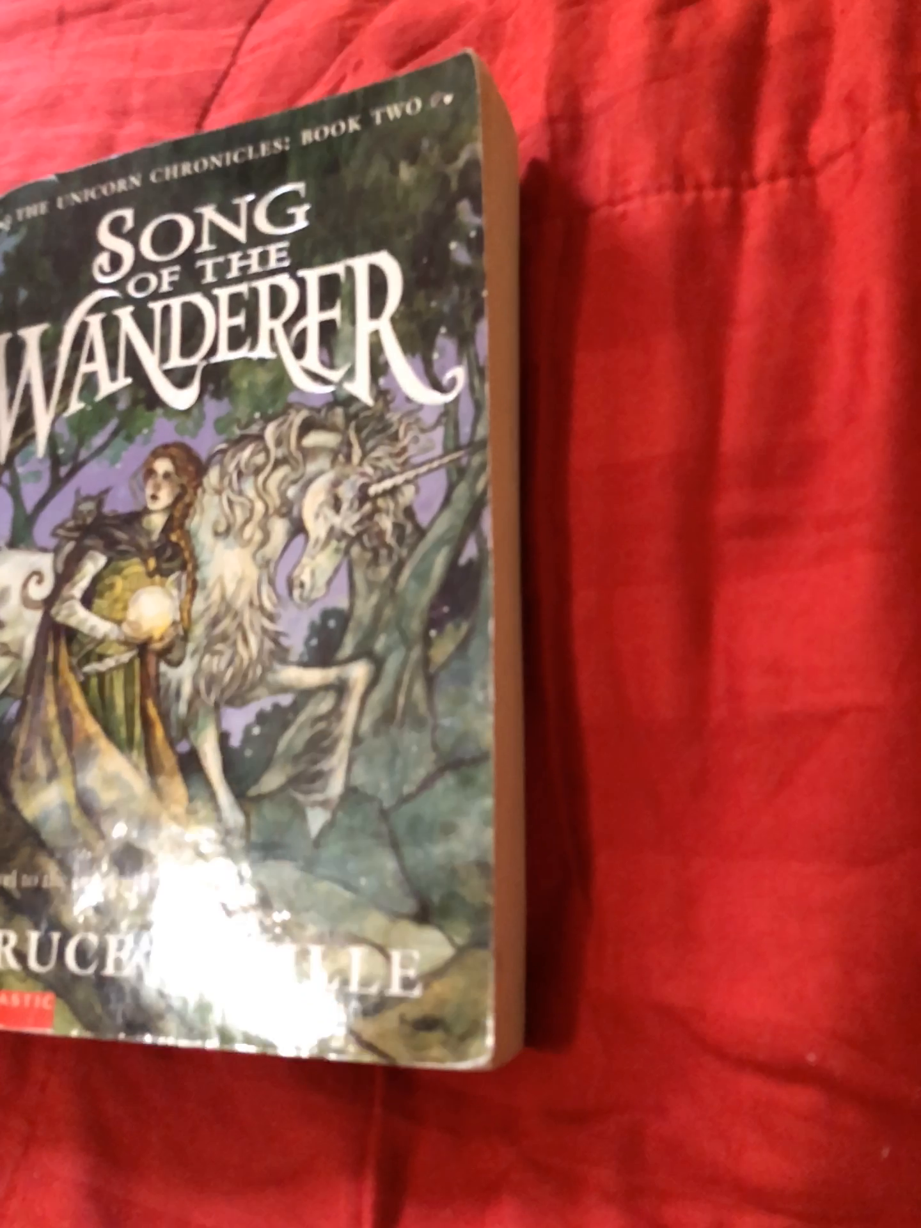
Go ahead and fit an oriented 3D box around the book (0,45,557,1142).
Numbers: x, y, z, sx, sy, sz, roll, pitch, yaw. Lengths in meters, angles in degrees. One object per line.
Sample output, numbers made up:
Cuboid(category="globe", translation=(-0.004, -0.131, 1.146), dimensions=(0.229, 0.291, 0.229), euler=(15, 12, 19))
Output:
Cuboid(category="book", translation=(-0.048, -0.006, 0.211), dimensions=(0.130, 0.030, 0.190), euler=(-4, 79, 23))
